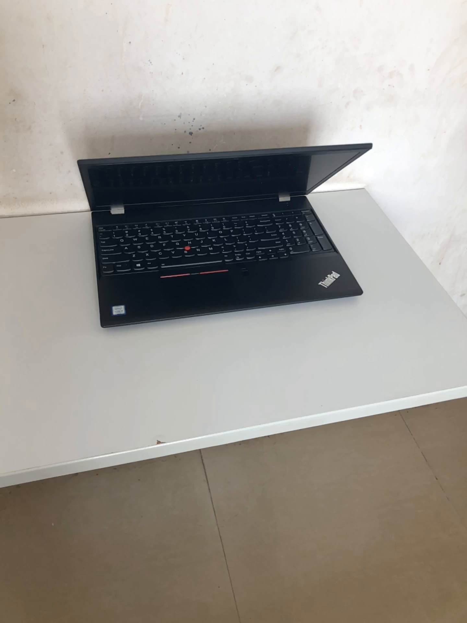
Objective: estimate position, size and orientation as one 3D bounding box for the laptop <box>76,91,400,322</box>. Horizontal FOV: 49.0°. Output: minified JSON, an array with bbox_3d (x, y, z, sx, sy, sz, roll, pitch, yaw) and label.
[{"bbox_3d":[-0.014,-0.152,0.687,0.347,0.173,0.235,-7,46,-11],"label":"laptop"}]
